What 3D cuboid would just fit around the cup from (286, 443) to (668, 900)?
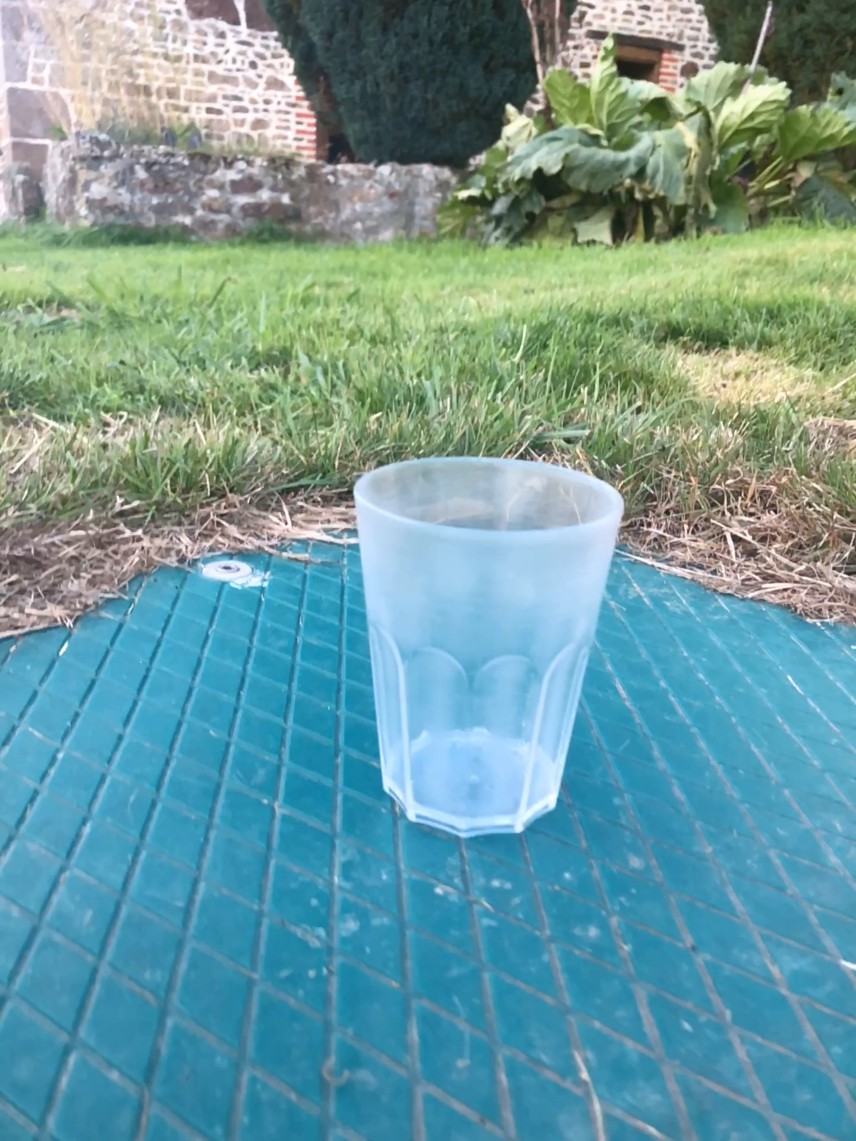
[{"bbox_3d":[0.015,0.025,0.326,0.087,0.113,0.092,3,19,-1],"label":"cup"}]
